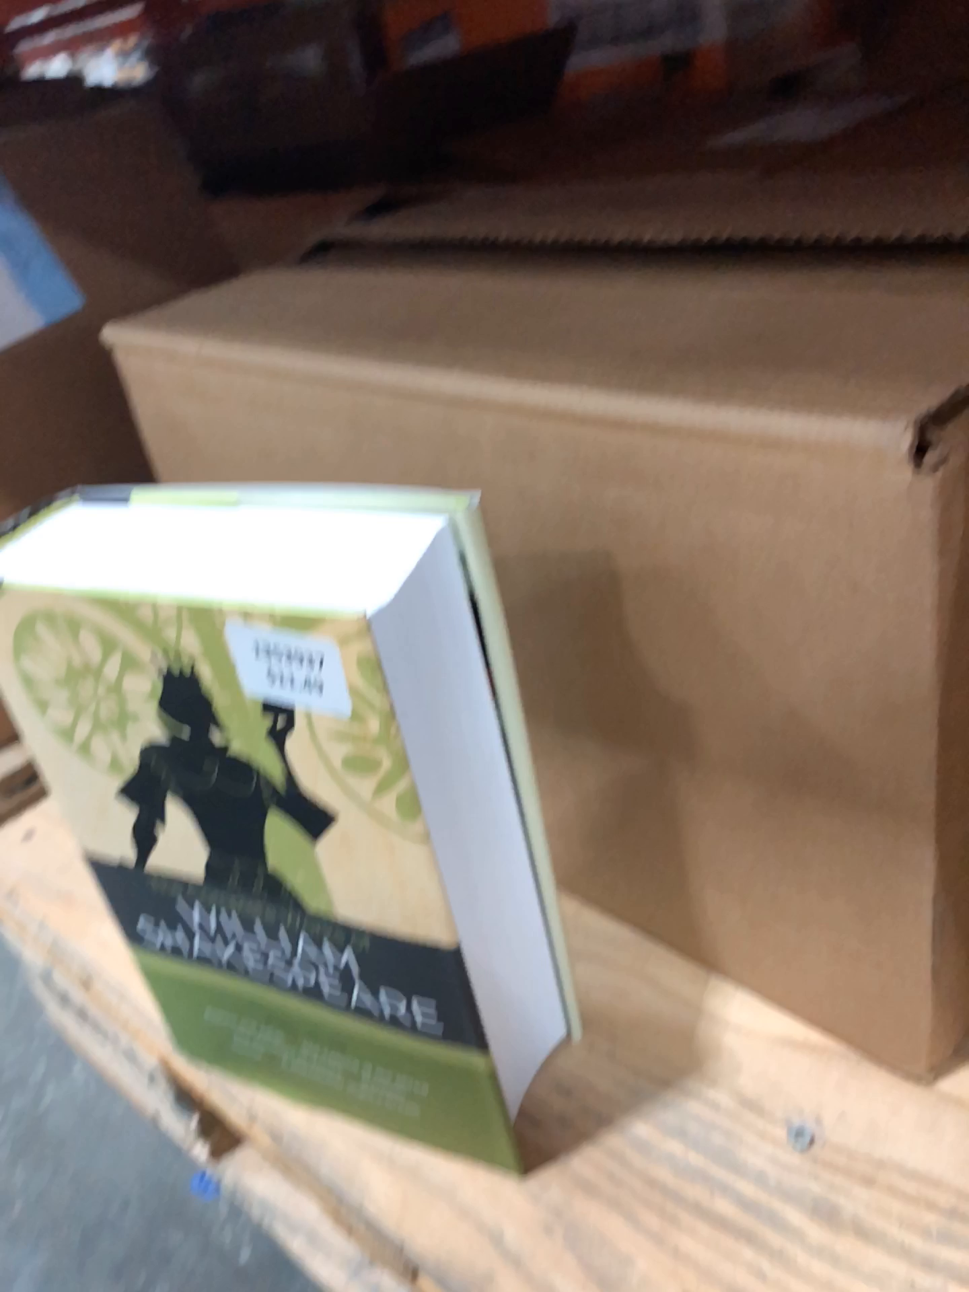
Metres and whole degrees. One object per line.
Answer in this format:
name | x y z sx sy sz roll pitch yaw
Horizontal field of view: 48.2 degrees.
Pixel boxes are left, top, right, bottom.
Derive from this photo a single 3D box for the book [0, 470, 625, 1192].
book | -0.063 0.063 0.396 0.181 0.239 0.080 6 35 29
